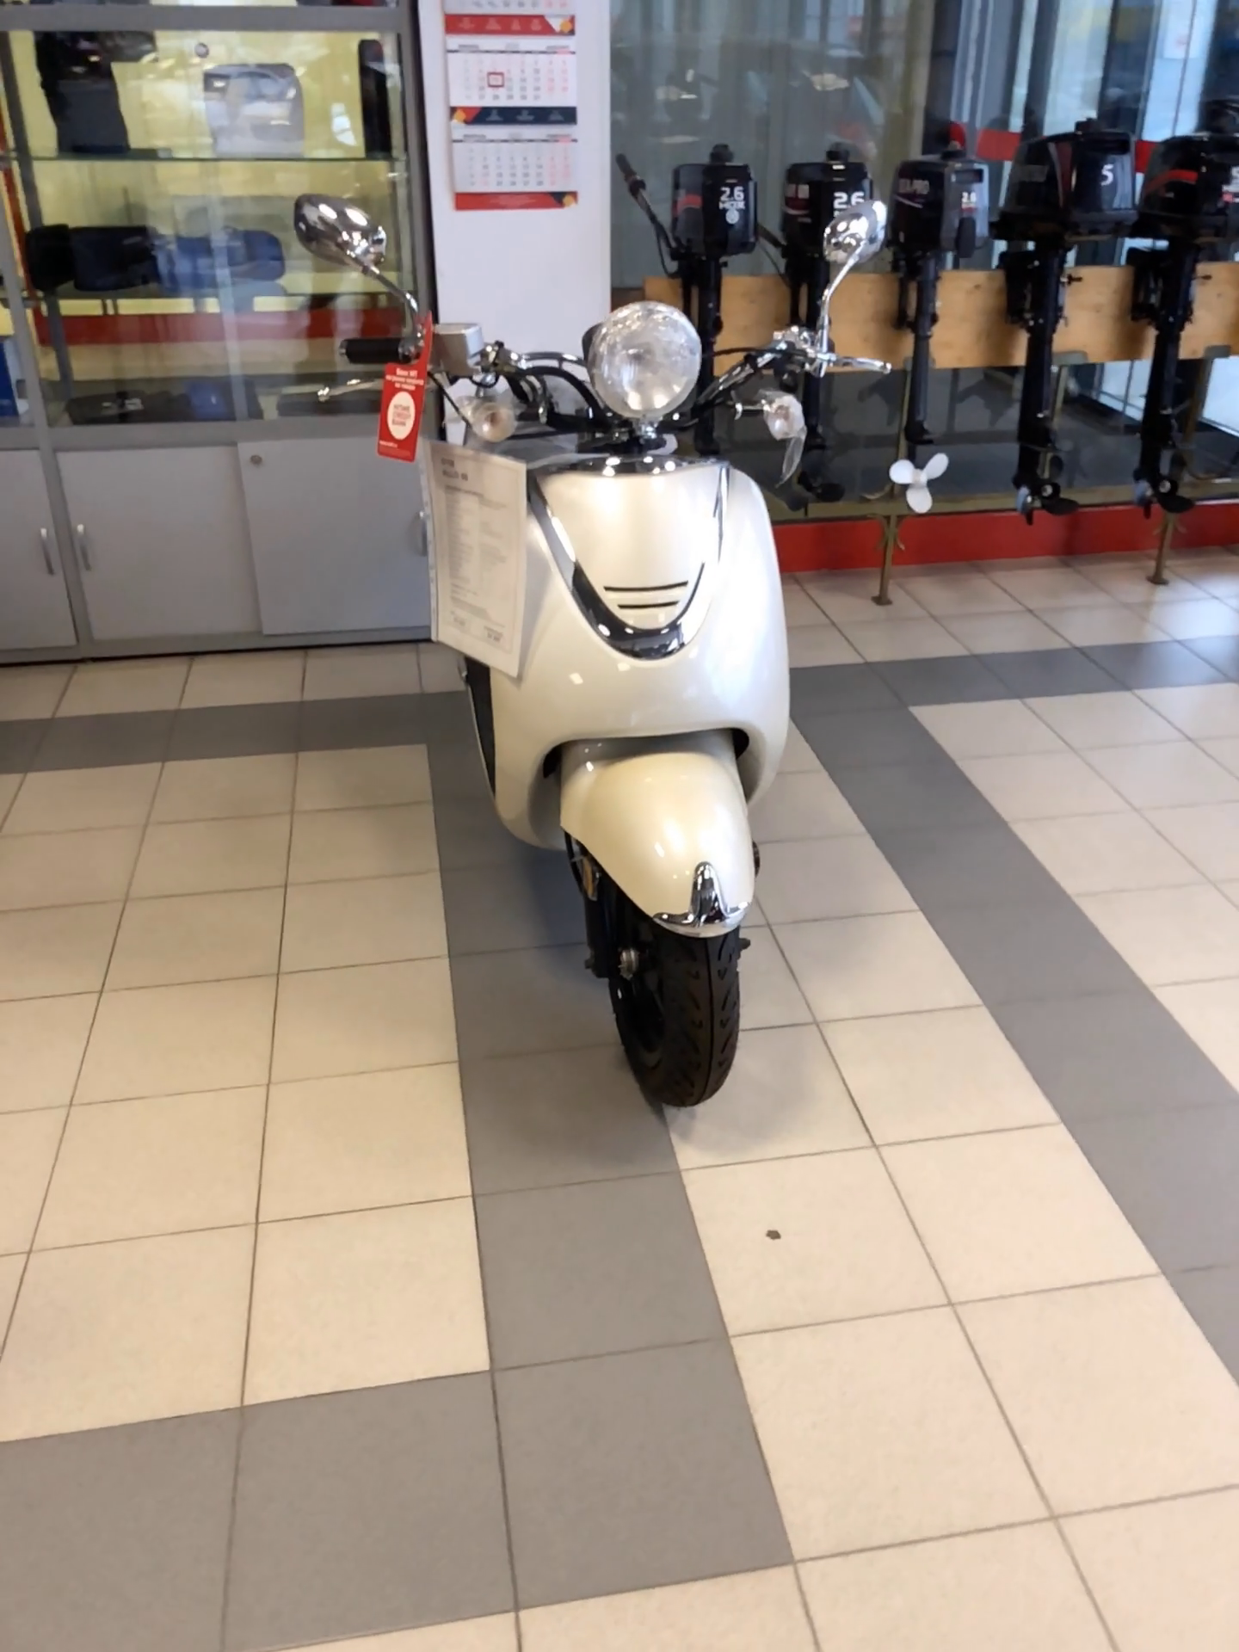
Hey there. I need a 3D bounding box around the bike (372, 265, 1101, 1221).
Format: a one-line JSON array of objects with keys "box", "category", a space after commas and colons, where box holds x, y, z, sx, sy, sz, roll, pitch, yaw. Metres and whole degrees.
[{"box": [0.011, -0.334, 2.448, 0.804, 0.963, 1.691, -4, 32, -8], "category": "bike"}]
